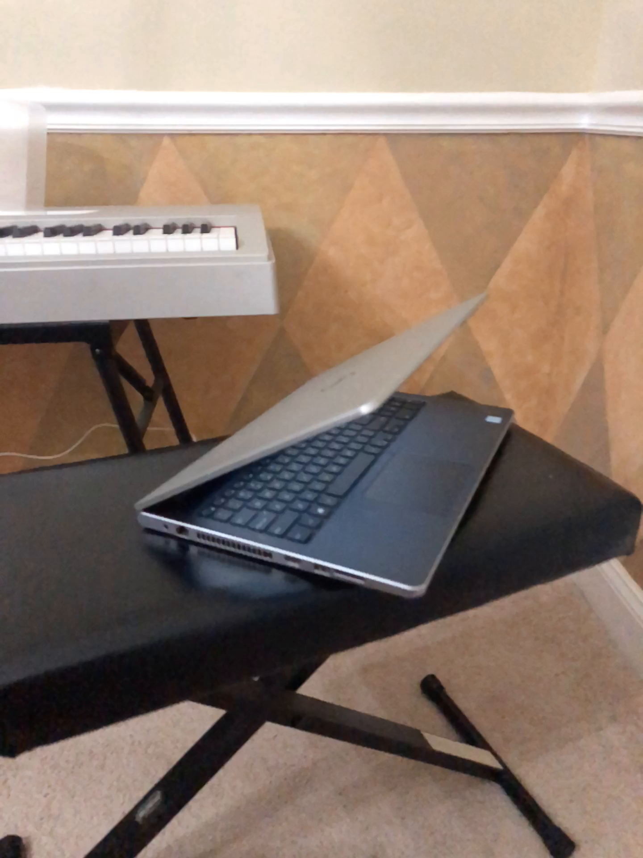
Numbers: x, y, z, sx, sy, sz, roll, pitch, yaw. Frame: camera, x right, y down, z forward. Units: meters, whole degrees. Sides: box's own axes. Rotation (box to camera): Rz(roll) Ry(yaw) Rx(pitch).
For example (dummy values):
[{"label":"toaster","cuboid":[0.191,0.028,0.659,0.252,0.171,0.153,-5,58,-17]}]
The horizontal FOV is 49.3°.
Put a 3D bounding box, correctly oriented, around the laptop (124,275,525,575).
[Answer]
[{"label":"laptop","cuboid":[0.035,-0.042,0.721,0.261,0.136,0.377,11,27,22]}]
